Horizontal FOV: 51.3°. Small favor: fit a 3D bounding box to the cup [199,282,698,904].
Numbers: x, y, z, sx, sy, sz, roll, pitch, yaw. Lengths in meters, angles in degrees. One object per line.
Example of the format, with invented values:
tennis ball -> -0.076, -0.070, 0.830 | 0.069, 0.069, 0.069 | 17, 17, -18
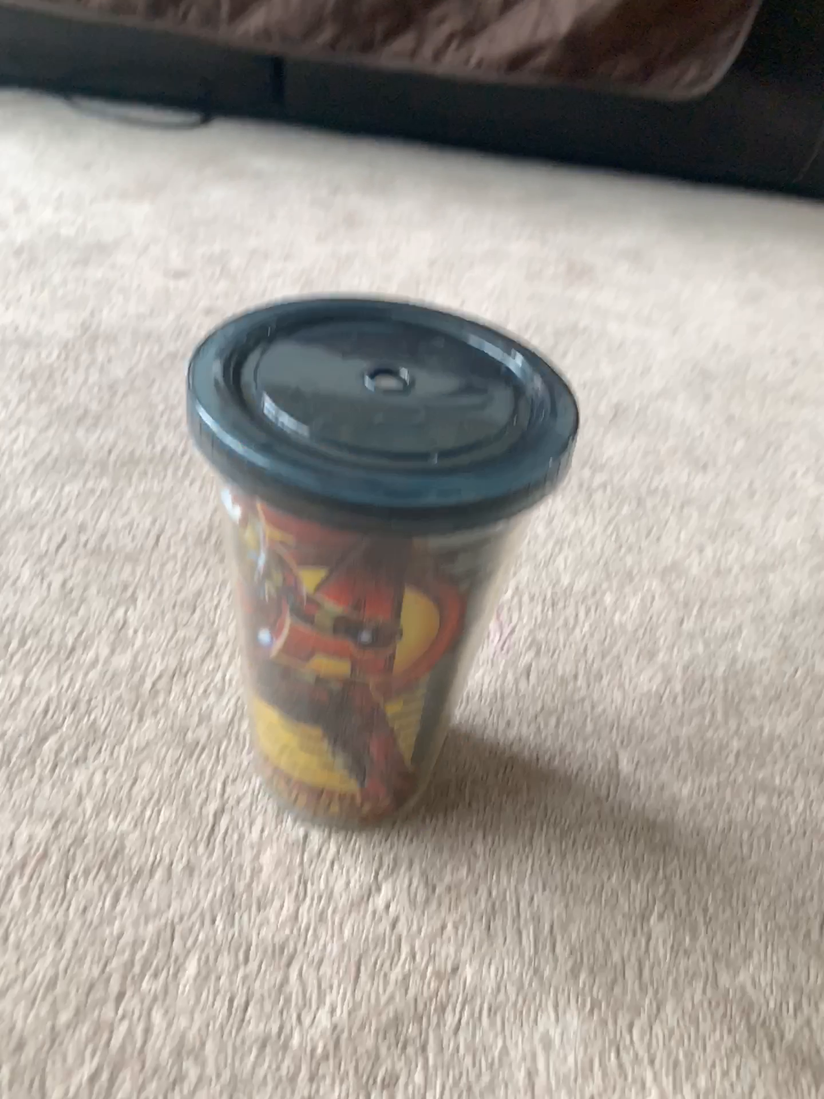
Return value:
cup -> -0.007, 0.011, 0.248 | 0.100, 0.139, 0.101 | 5, 38, -4
